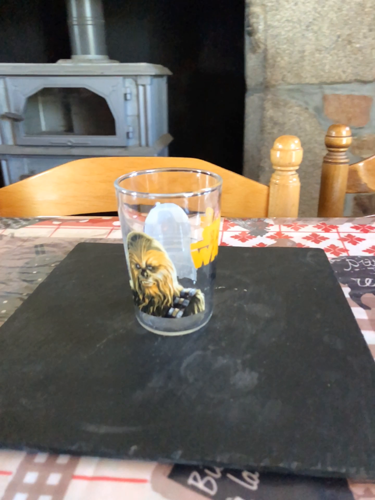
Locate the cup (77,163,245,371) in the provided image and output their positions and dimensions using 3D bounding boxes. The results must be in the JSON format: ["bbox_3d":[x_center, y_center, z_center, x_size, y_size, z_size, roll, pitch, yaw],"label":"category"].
[{"bbox_3d":[-0.013,0.004,0.261,0.070,0.099,0.070,-1,22,0],"label":"cup"}]
